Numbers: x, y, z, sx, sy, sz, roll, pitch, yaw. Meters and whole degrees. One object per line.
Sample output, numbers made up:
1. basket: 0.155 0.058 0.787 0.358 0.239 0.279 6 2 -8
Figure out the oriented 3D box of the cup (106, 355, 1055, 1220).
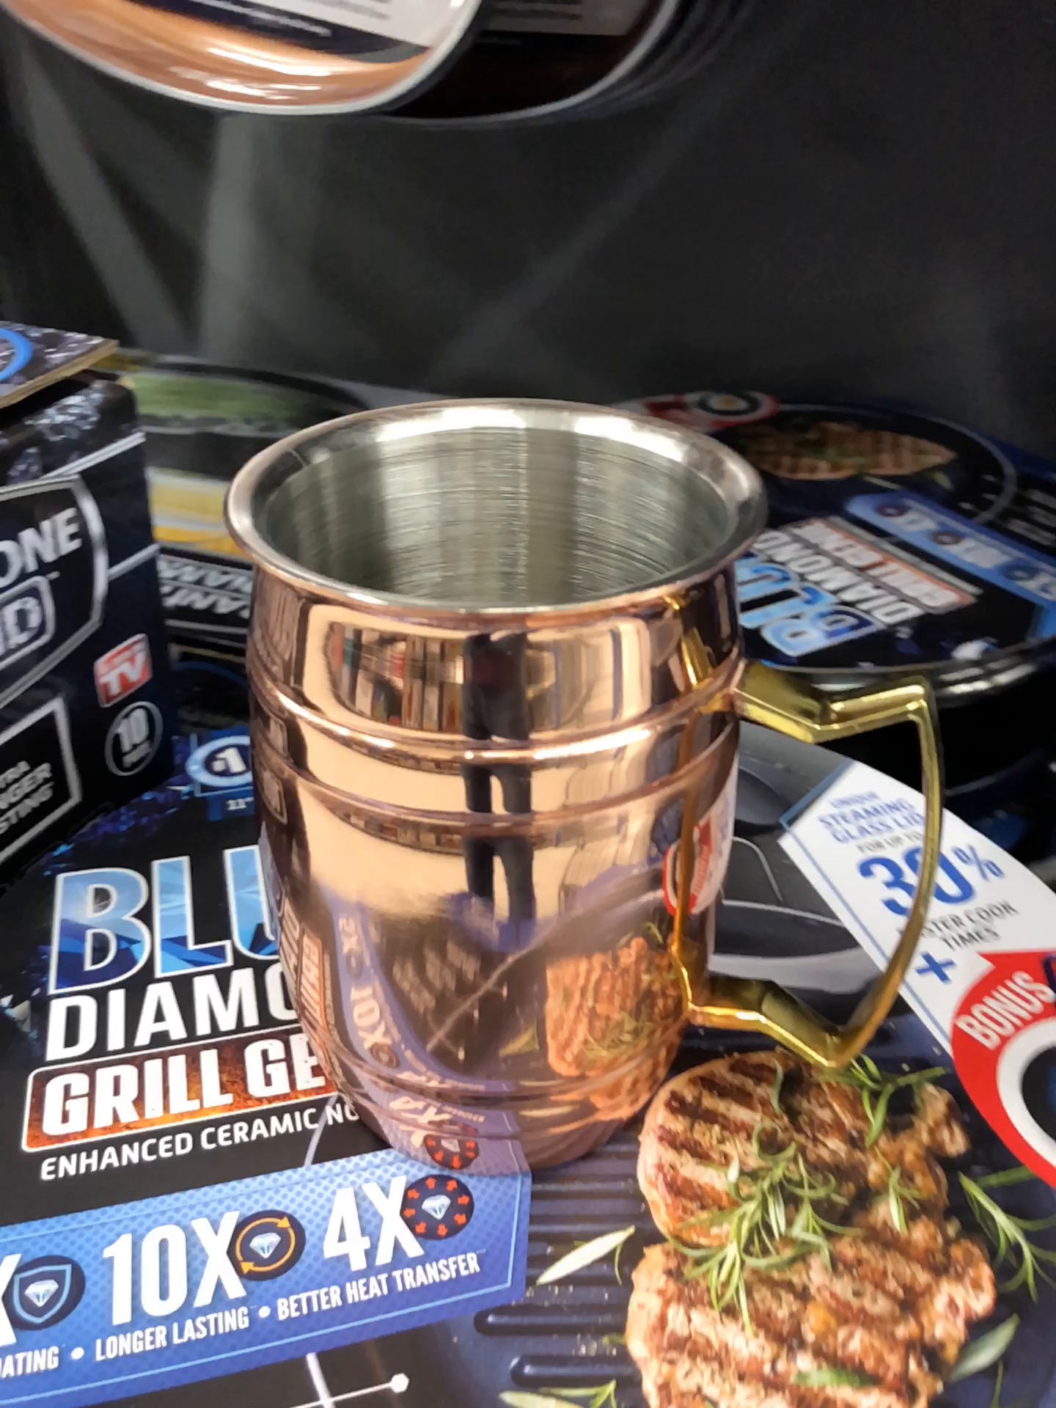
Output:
1. cup: 0.009 0.013 0.223 0.127 0.126 0.087 5 33 4
